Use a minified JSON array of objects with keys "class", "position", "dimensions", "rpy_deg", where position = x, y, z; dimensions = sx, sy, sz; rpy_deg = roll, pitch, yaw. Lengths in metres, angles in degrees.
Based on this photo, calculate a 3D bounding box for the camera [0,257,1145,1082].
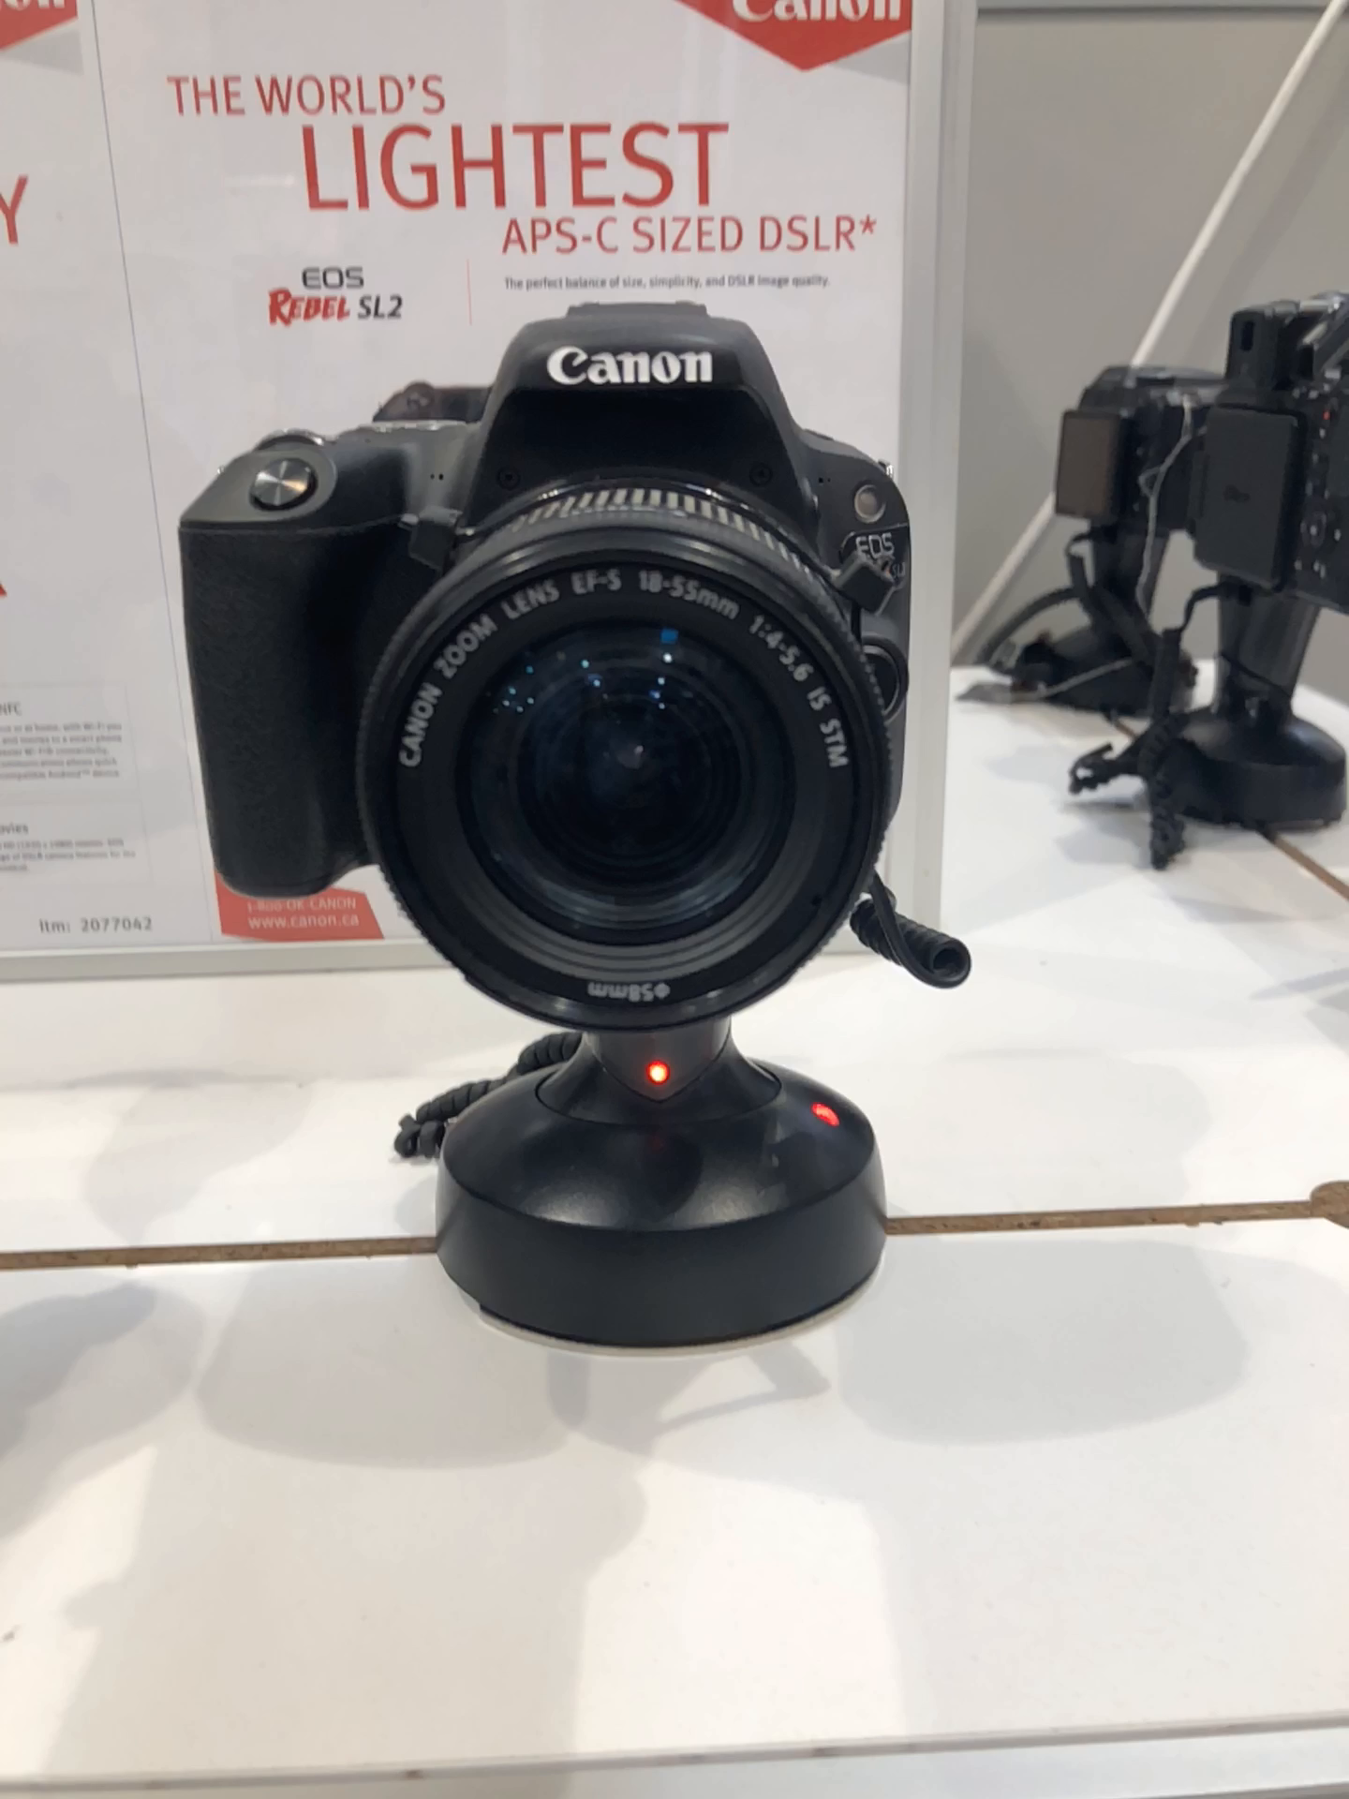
[{"class":"camera","position":[-0.017,-0.041,0.221],"dimensions":[0.130,0.090,0.121],"rpy_deg":[0,20,1]}]
